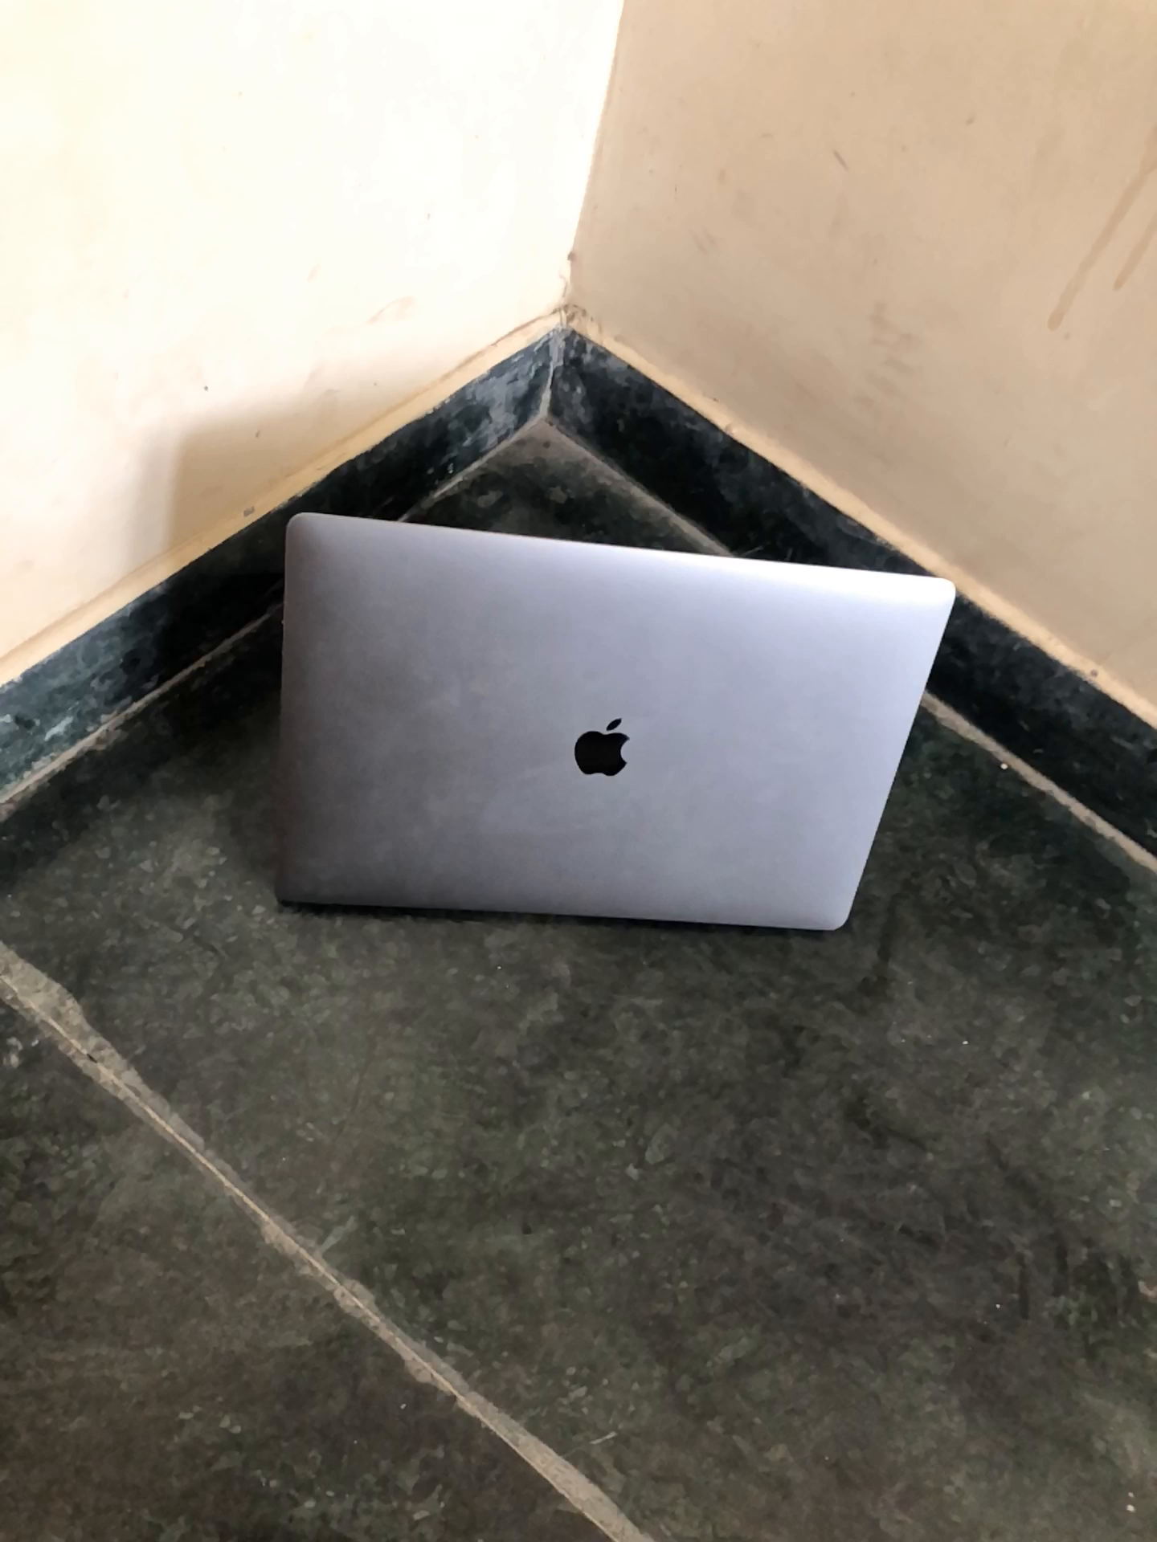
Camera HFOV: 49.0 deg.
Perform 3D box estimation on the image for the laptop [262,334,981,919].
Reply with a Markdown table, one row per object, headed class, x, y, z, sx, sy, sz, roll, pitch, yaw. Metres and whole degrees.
| class | x | y | z | sx | sy | sz | roll | pitch | yaw |
| --- | --- | --- | --- | --- | --- | --- | --- | --- | --- |
| laptop | 0.005 | -0.072 | 0.714 | 0.329 | 0.198 | 0.222 | 5 | 57 | -7 |
